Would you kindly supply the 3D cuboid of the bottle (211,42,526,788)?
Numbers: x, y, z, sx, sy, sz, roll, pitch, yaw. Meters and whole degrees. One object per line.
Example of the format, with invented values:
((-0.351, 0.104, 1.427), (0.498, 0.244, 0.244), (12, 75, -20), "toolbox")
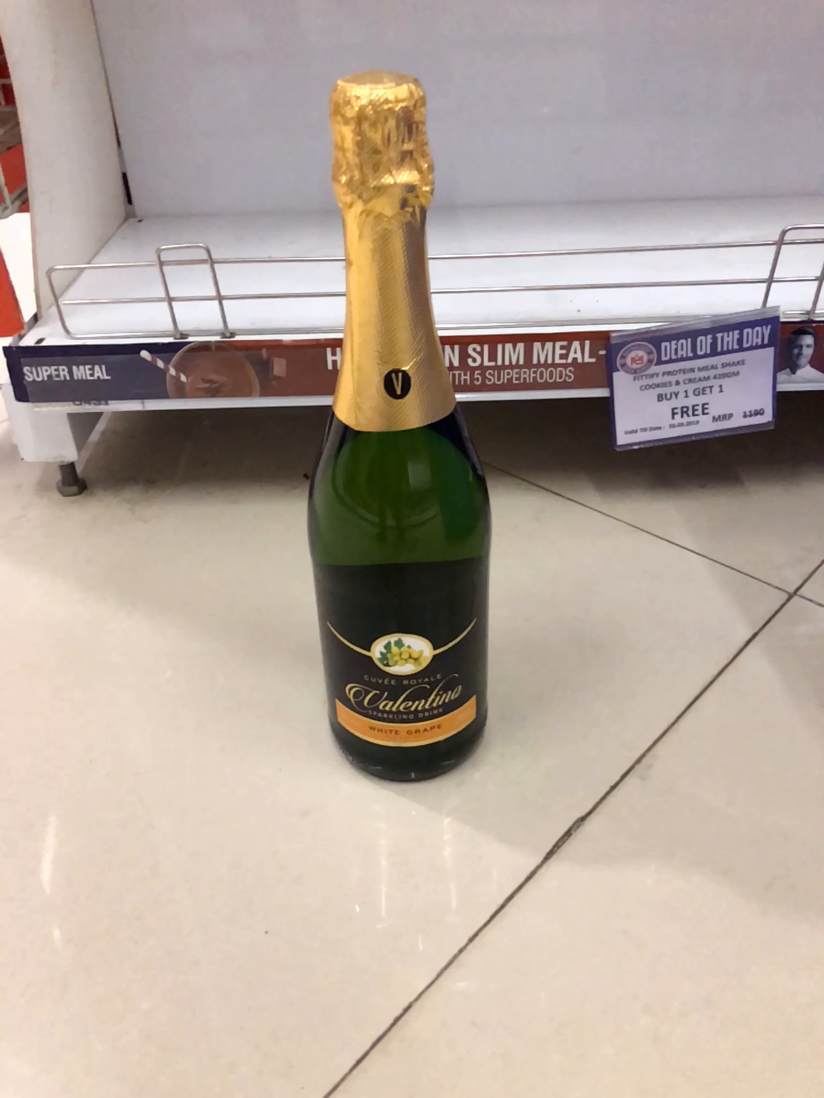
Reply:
((-0.011, -0.037, 0.383), (0.090, 0.298, 0.091), (-1, 36, 1), "bottle")
